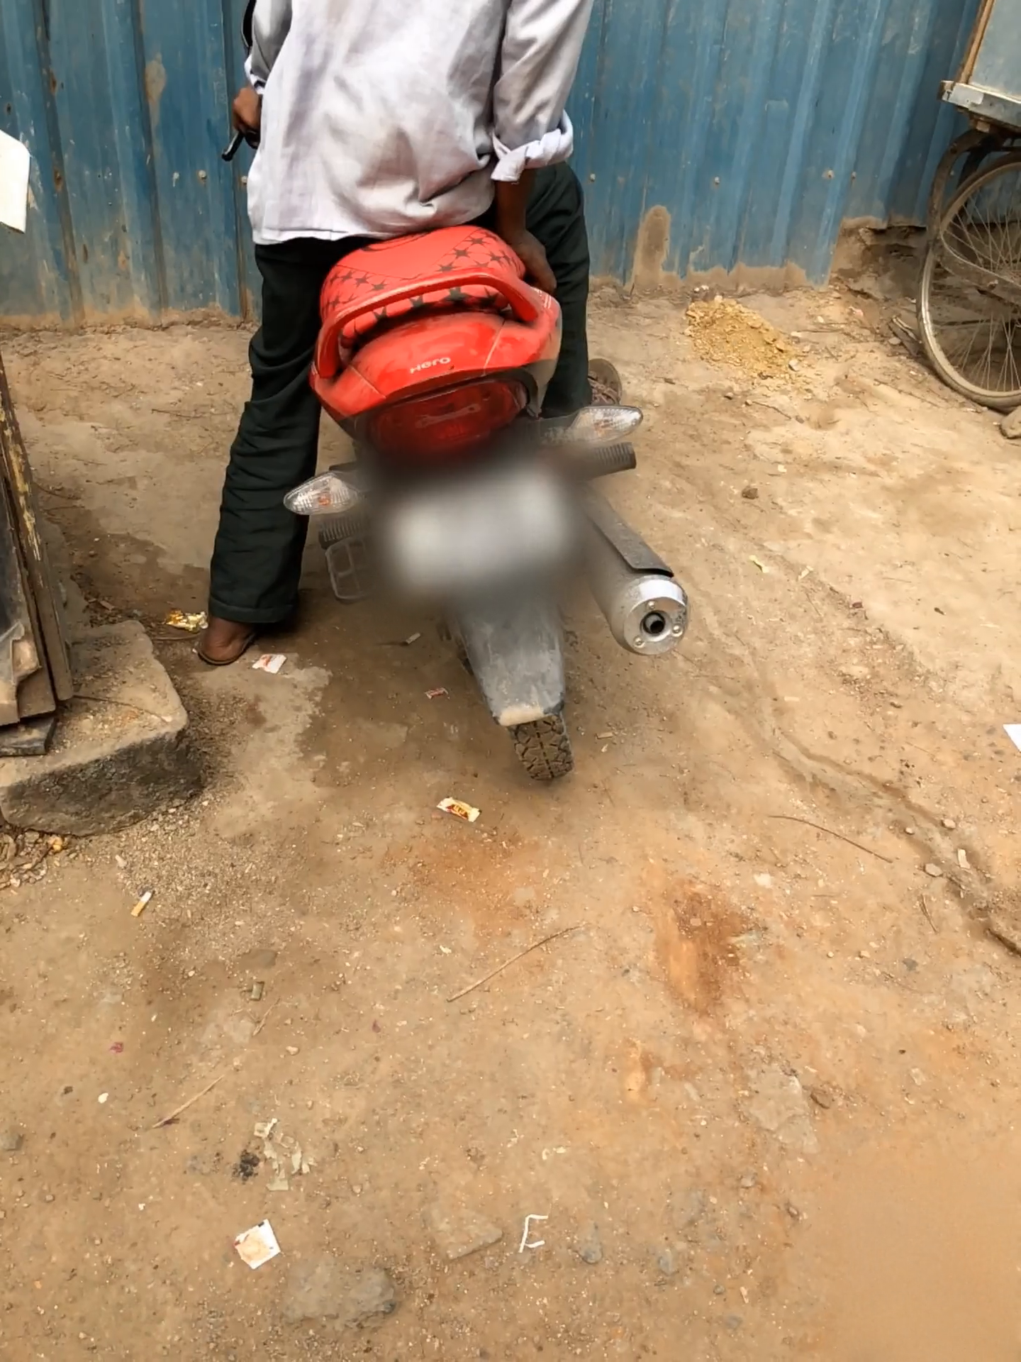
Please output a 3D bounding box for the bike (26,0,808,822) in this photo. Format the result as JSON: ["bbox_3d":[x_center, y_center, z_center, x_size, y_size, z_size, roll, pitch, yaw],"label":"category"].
[{"bbox_3d":[-0.303,-0.843,1.927,0.735,1.129,1.639,-4,41,-14],"label":"bike"}]
